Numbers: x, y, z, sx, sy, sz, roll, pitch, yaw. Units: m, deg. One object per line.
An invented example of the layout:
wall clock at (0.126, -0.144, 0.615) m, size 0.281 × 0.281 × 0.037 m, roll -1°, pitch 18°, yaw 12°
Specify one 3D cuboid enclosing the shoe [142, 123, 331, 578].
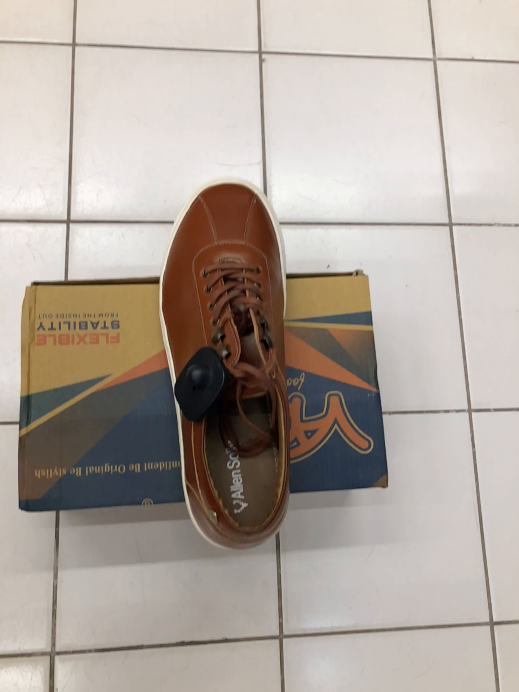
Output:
shoe at (-0.023, 0.001, 0.407) m, size 0.100 × 0.110 × 0.280 m, roll -3°, pitch 79°, yaw -6°
